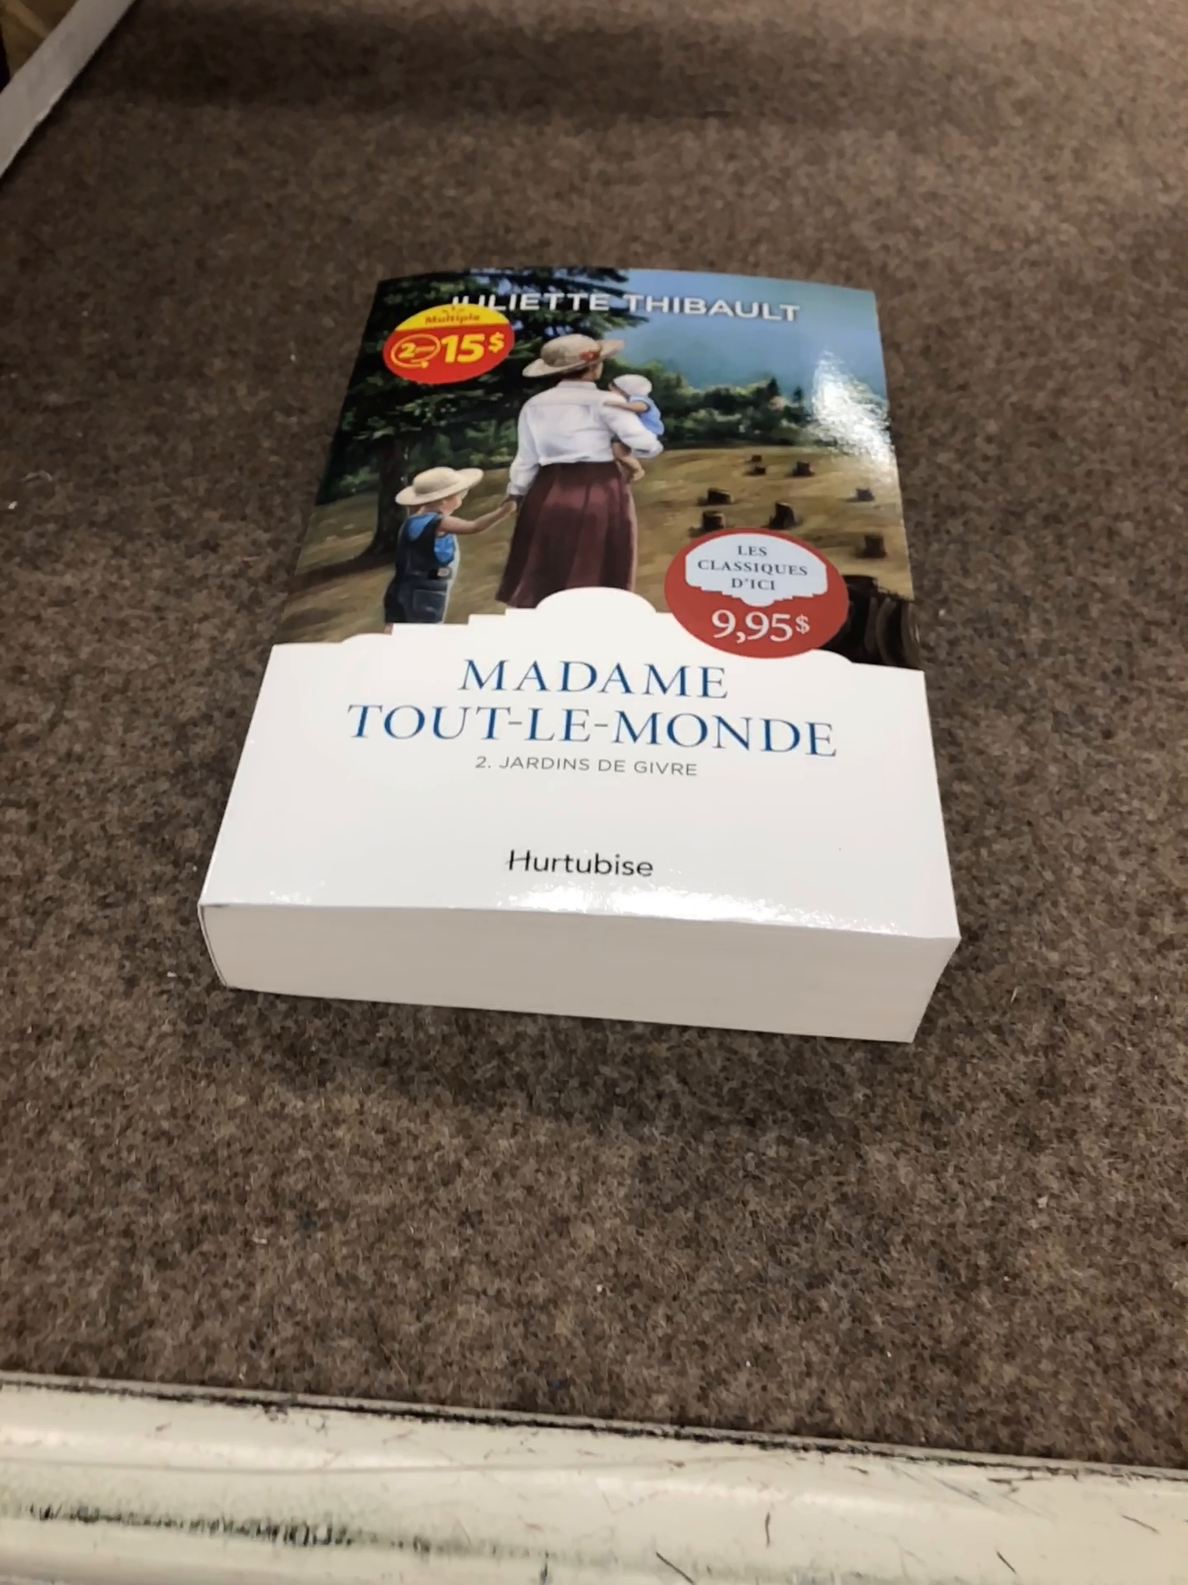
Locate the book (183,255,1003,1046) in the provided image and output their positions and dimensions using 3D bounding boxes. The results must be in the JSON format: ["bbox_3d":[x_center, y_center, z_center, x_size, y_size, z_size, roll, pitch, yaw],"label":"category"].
[{"bbox_3d":[0.007,-0.052,0.343,0.160,0.050,0.222,2,54,3],"label":"book"}]
